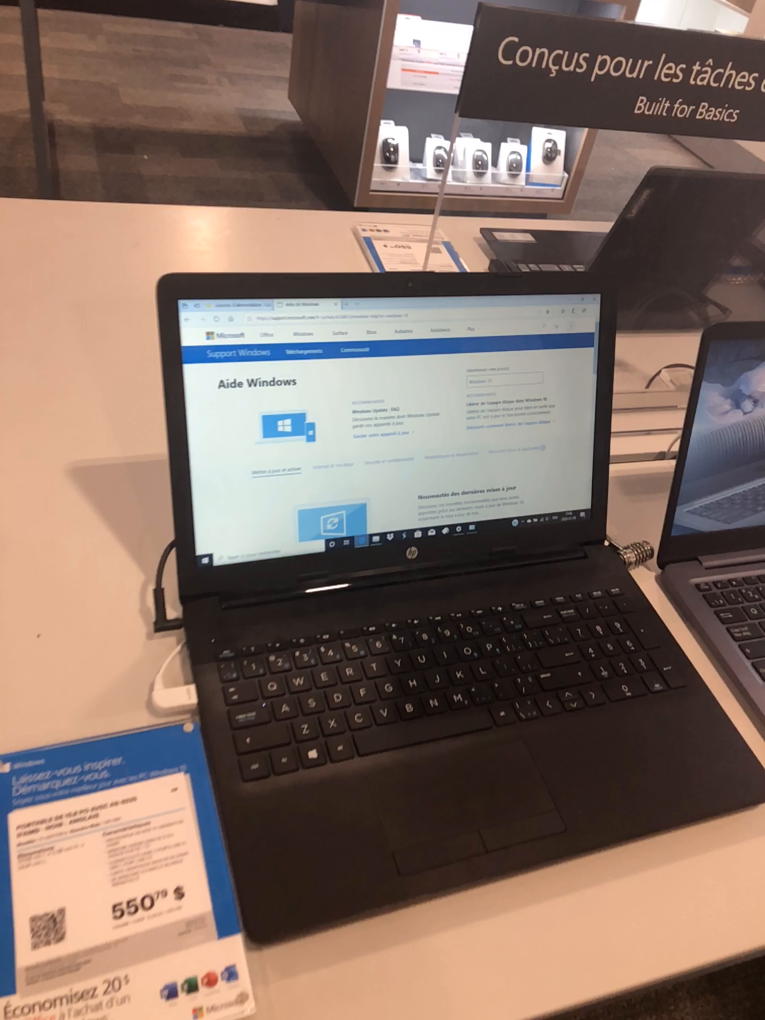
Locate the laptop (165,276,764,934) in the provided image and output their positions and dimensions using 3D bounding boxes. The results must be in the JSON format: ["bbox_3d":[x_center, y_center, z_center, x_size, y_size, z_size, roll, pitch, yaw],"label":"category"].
[{"bbox_3d":[0.061,0.019,0.564,0.356,0.195,0.360,-6,45,-19],"label":"laptop"}]
